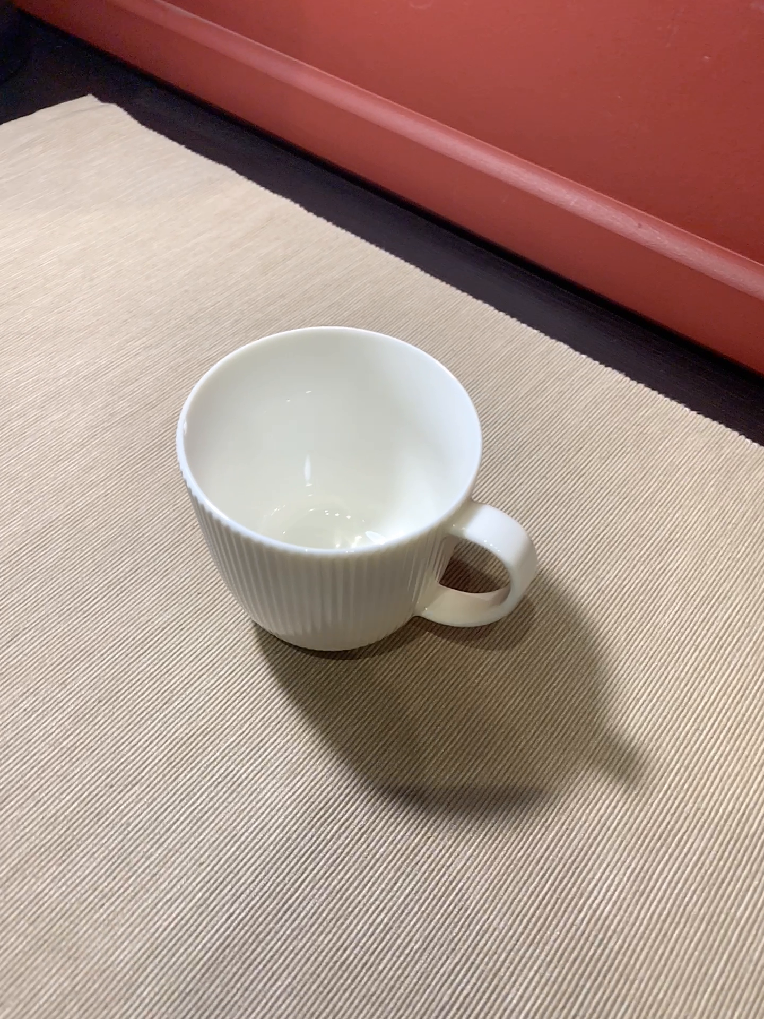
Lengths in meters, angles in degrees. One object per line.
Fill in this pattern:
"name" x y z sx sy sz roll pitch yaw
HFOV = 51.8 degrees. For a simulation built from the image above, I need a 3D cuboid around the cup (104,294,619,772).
"cup" -0.005 0.002 0.240 0.110 0.060 0.090 29 55 19
